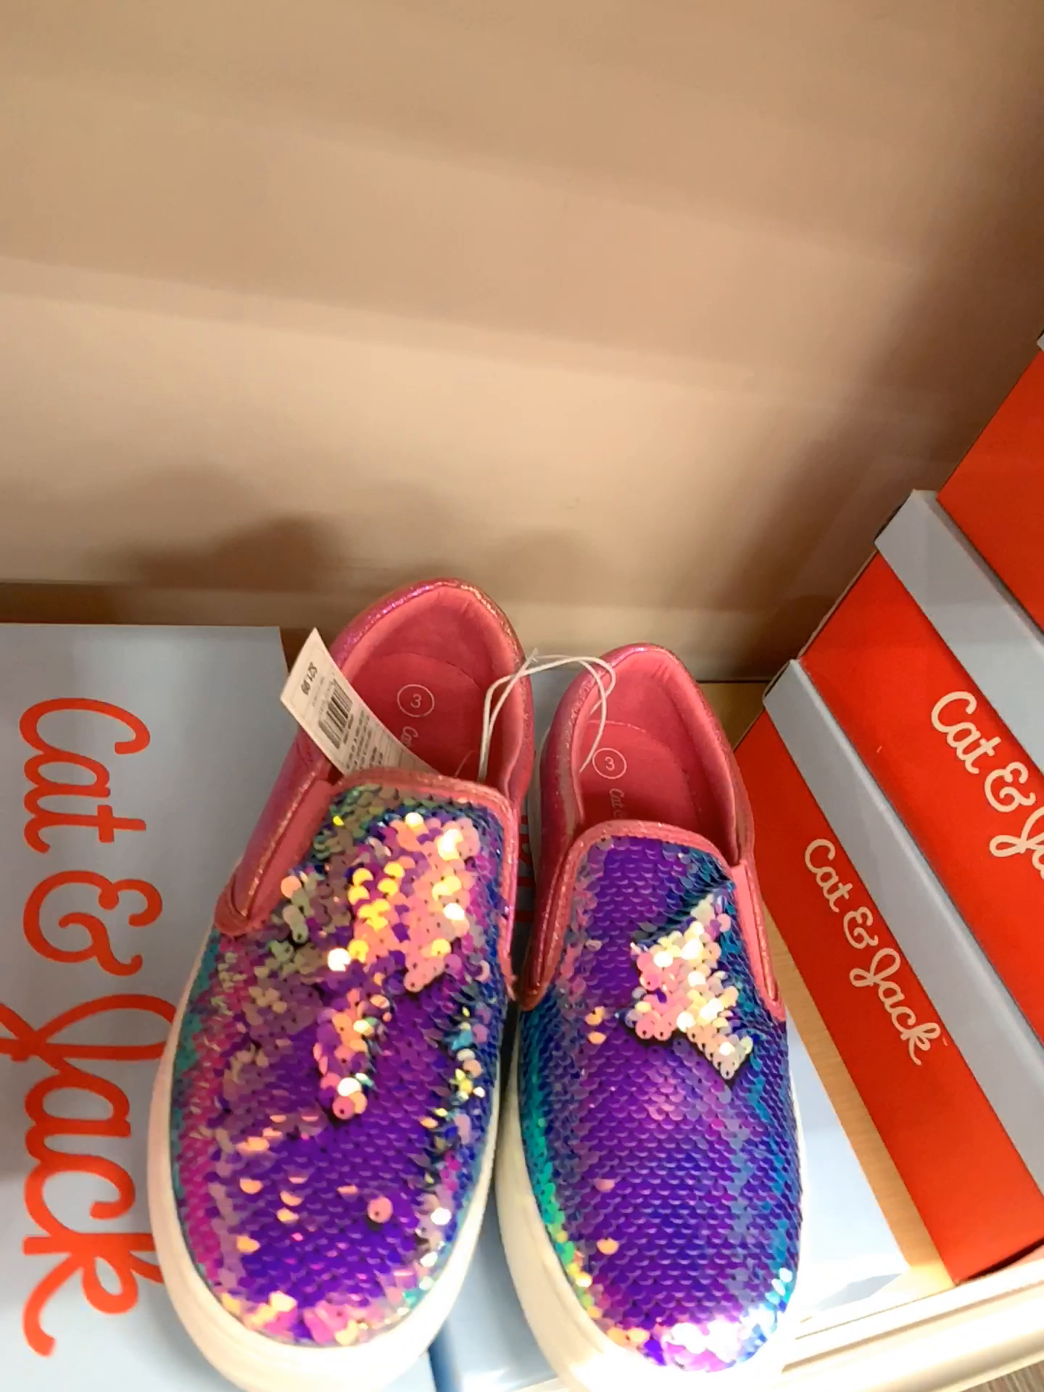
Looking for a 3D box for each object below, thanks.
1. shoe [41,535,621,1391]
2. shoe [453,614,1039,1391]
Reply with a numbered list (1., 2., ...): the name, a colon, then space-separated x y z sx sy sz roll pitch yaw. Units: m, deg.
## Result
1. shoe: -0.038 0.063 0.283 0.100 0.074 0.211 13 45 -11
2. shoe: 0.040 0.083 0.298 0.090 0.074 0.211 8 47 -16
